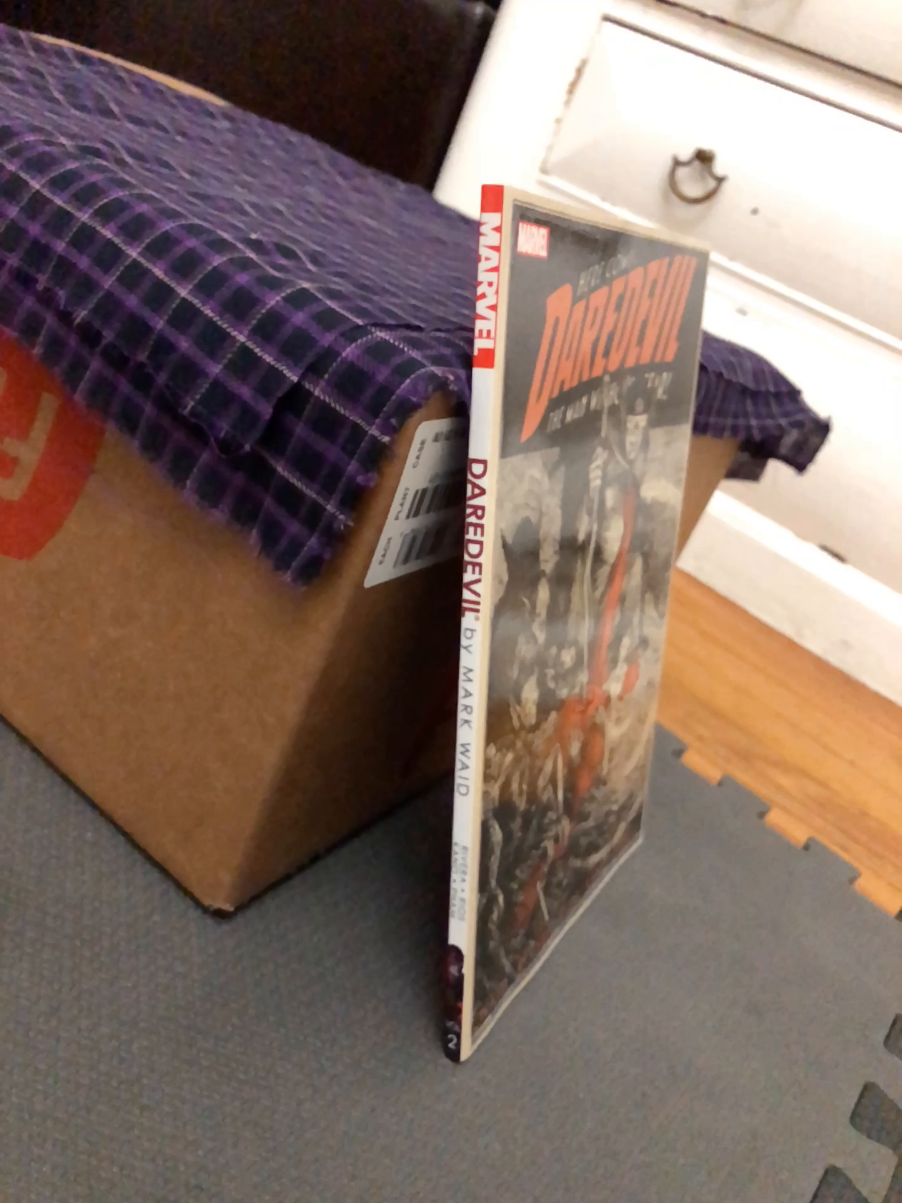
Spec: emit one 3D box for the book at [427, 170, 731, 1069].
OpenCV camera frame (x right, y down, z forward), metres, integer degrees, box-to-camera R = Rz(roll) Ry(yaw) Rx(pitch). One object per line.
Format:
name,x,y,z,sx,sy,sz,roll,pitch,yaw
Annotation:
book,0.046,-0.001,0.320,0.020,0.229,0.161,11,17,27
